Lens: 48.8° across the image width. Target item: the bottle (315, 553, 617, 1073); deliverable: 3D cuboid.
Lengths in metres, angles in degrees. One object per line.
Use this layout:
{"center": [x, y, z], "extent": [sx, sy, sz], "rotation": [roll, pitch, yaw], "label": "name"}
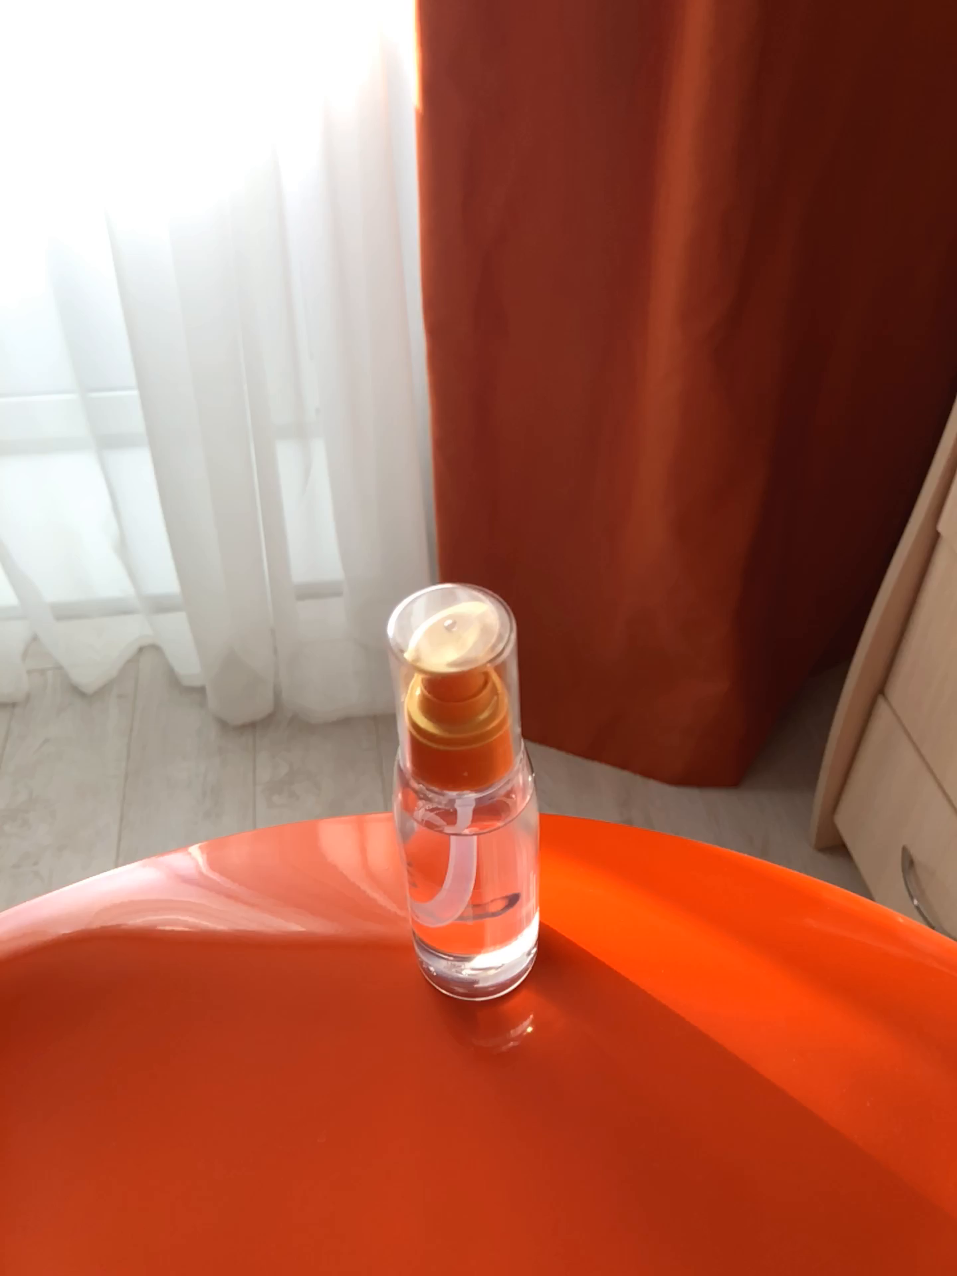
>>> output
{"center": [-0.003, 0.055, 0.283], "extent": [0.050, 0.149, 0.050], "rotation": [0, 47, 0], "label": "bottle"}
